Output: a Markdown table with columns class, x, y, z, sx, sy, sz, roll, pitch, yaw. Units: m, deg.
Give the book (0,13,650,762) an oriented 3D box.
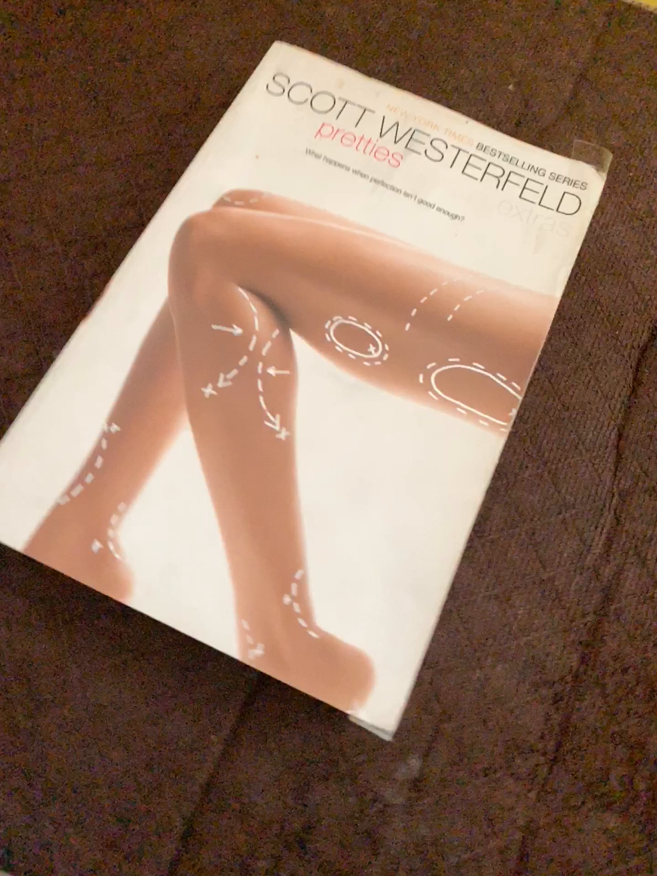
| class | x | y | z | sx | sy | sz | roll | pitch | yaw |
| --- | --- | --- | --- | --- | --- | --- | --- | --- | --- |
| book | 0.003 | -0.035 | 0.236 | 0.150 | 0.030 | 0.221 | 25 | 71 | 6 |
